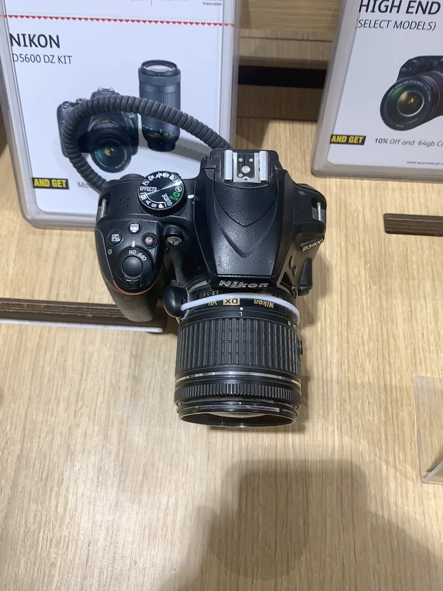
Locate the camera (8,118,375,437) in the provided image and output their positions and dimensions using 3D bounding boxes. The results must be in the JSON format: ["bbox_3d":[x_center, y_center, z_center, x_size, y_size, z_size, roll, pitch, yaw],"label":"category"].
[{"bbox_3d":[-0.009,-0.002,0.220,0.120,0.100,0.120,0,66,1],"label":"camera"}]
